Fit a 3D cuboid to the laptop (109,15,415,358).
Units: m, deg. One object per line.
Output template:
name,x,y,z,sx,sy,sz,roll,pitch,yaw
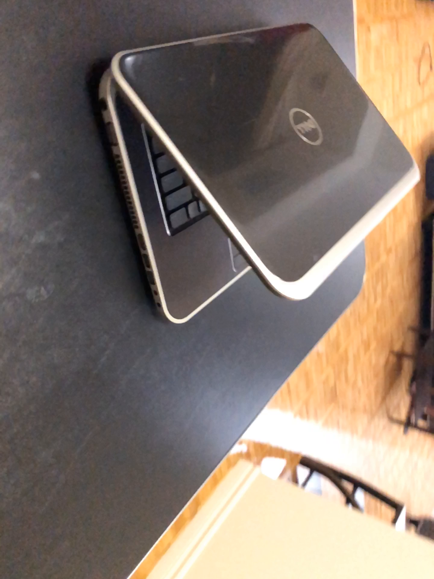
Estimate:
laptop,0.093,-0.137,0.521,0.357,0.137,0.240,-40,127,-43
